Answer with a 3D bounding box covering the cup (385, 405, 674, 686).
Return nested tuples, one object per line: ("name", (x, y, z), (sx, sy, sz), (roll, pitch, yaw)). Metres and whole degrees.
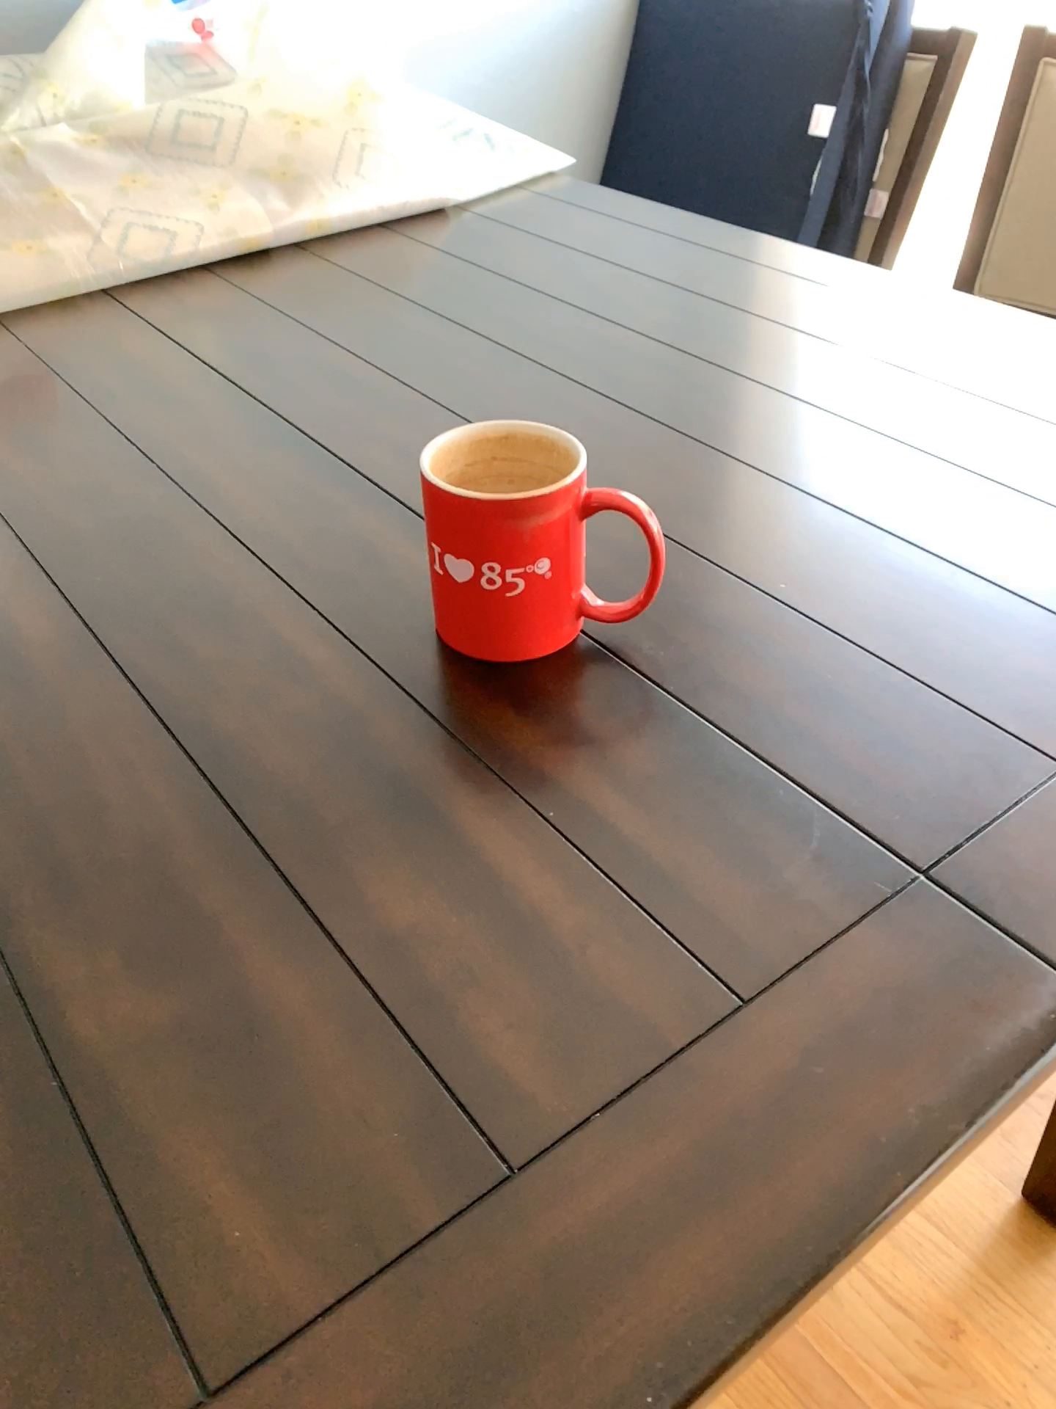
("cup", (0.004, -0.078, 0.525), (0.120, 0.100, 0.080), (6, 39, 8))
